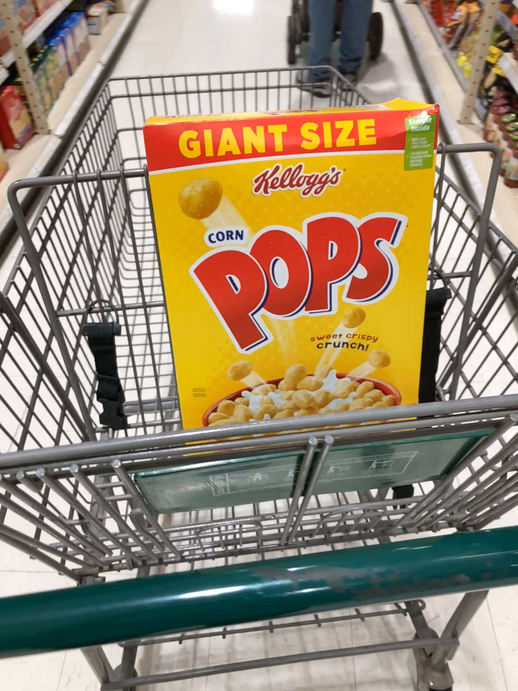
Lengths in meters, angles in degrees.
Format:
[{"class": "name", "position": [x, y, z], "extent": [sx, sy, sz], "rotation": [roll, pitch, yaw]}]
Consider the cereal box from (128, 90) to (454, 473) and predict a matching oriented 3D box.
[{"class": "cereal box", "position": [0.031, -0.052, 0.542], "extent": [0.250, 0.329, 0.080], "rotation": [-6, 27, -5]}]
